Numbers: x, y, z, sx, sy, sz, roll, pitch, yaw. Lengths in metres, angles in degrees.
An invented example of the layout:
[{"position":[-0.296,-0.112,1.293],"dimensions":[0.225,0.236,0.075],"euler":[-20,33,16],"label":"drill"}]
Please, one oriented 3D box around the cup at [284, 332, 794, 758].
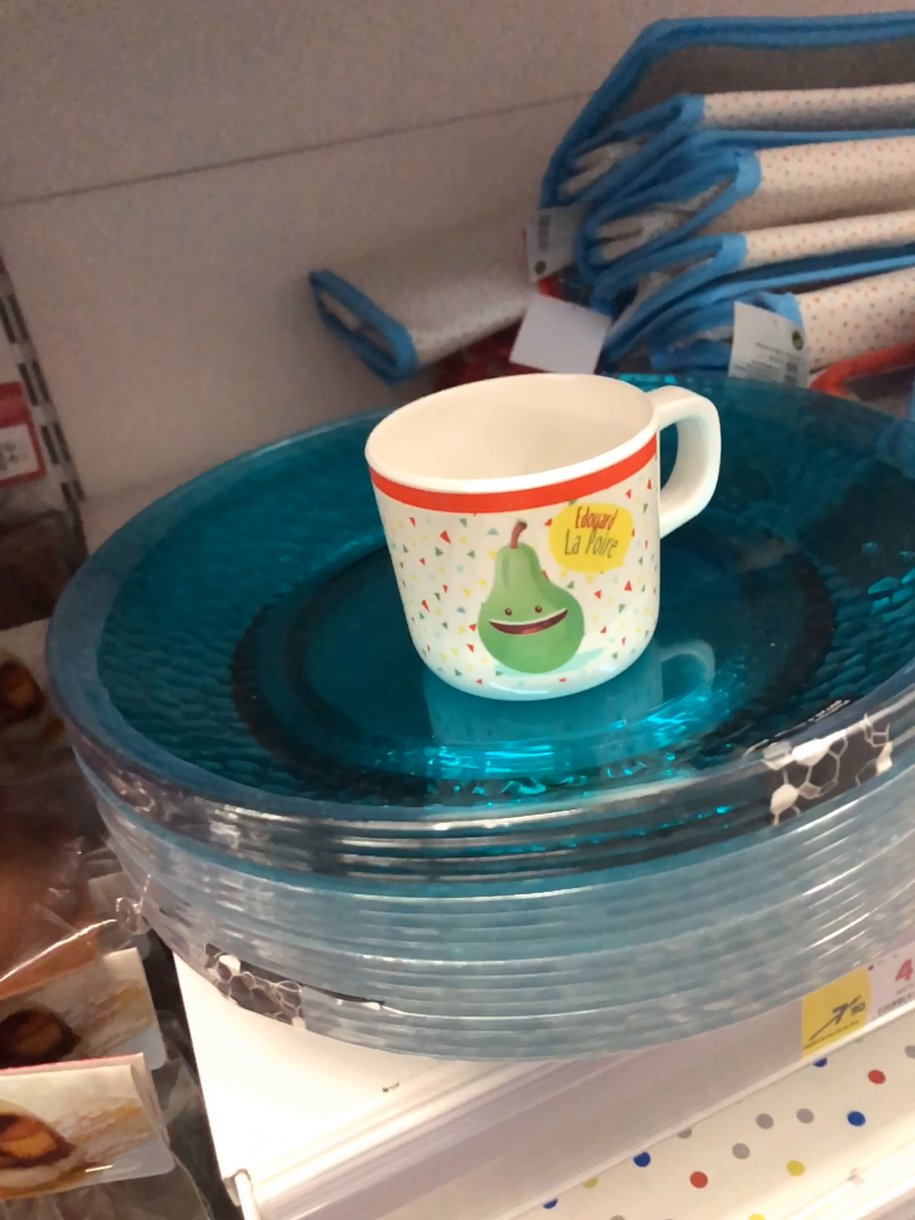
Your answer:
[{"position":[0.021,-0.024,0.269],"dimensions":[0.103,0.059,0.077],"euler":[-22,34,-22],"label":"cup"}]
